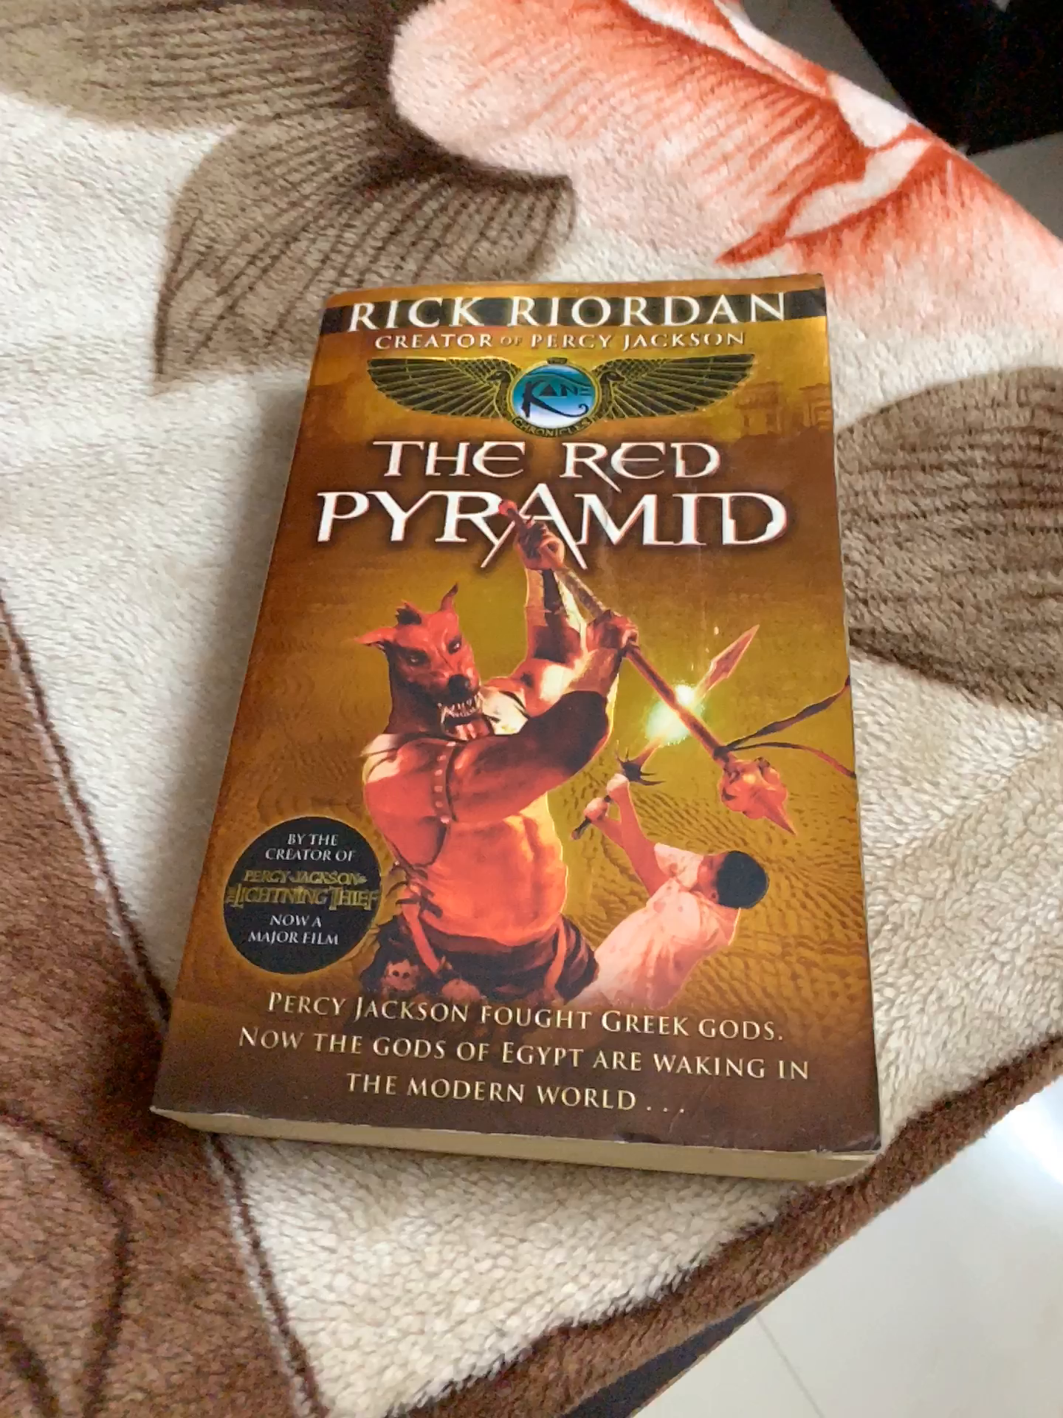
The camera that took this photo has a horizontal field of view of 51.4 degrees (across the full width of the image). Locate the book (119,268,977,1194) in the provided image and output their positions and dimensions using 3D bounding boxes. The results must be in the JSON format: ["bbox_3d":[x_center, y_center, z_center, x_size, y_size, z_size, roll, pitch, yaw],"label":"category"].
[{"bbox_3d":[0.009,-0.012,0.263,0.150,0.040,0.221,2,61,4],"label":"book"}]
